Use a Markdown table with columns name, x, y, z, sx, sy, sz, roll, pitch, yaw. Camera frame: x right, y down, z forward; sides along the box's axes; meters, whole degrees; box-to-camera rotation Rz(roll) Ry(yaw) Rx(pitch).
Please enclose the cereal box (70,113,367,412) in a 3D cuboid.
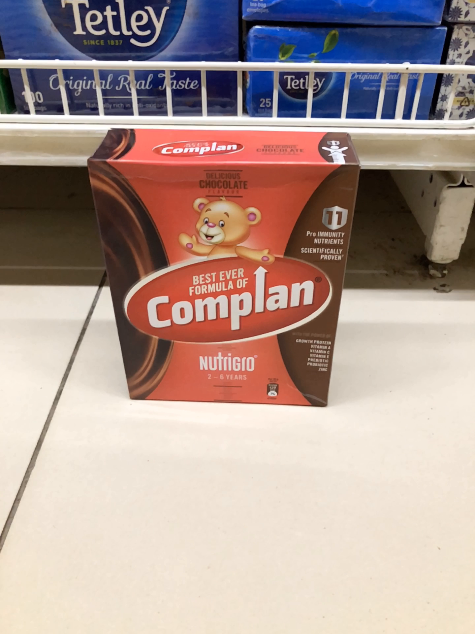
| name | x | y | z | sx | sy | sz | roll | pitch | yaw |
| --- | --- | --- | --- | --- | --- | --- | --- | --- | --- |
| cereal box | -0.008 | -0.024 | 0.323 | 0.140 | 0.179 | 0.050 | 1 | 38 | 2 |
